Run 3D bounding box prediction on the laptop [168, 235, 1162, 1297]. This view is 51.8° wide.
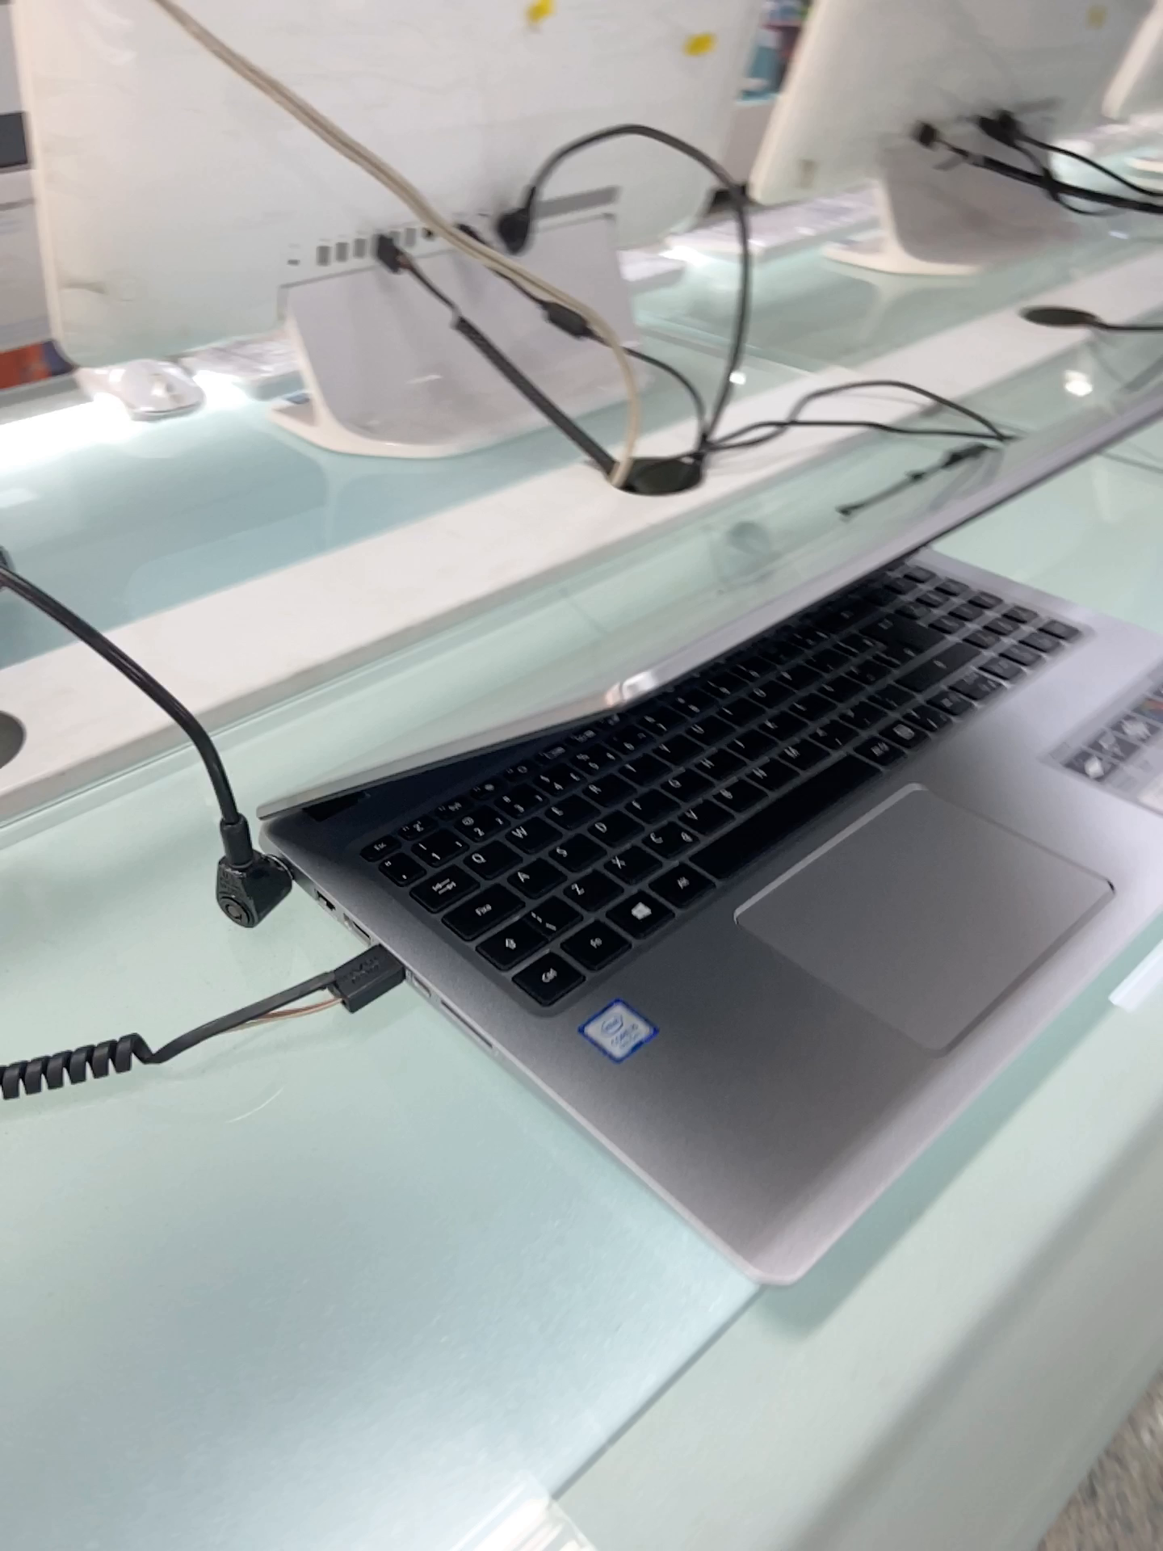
[{"bbox_3d":[0.094,-0.062,0.408,0.361,0.138,0.236,-30,45,-34],"label":"laptop"}]
